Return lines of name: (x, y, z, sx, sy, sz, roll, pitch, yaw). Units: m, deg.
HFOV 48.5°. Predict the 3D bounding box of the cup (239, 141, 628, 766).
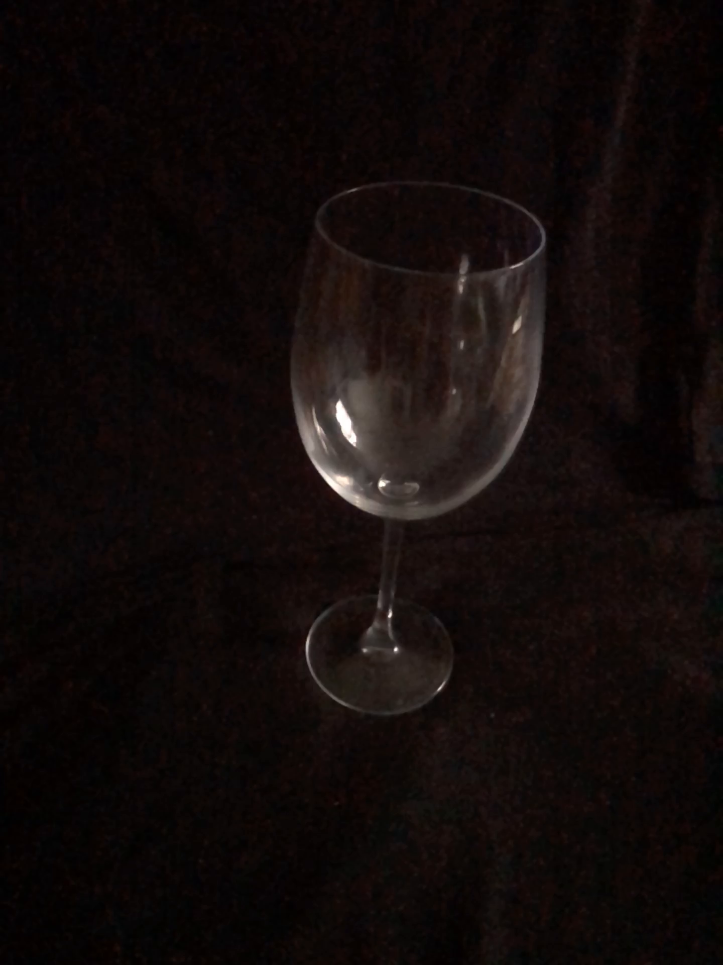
cup: (0.024, 0.001, 0.379, 0.103, 0.266, 0.101, 1, 43, -1)
